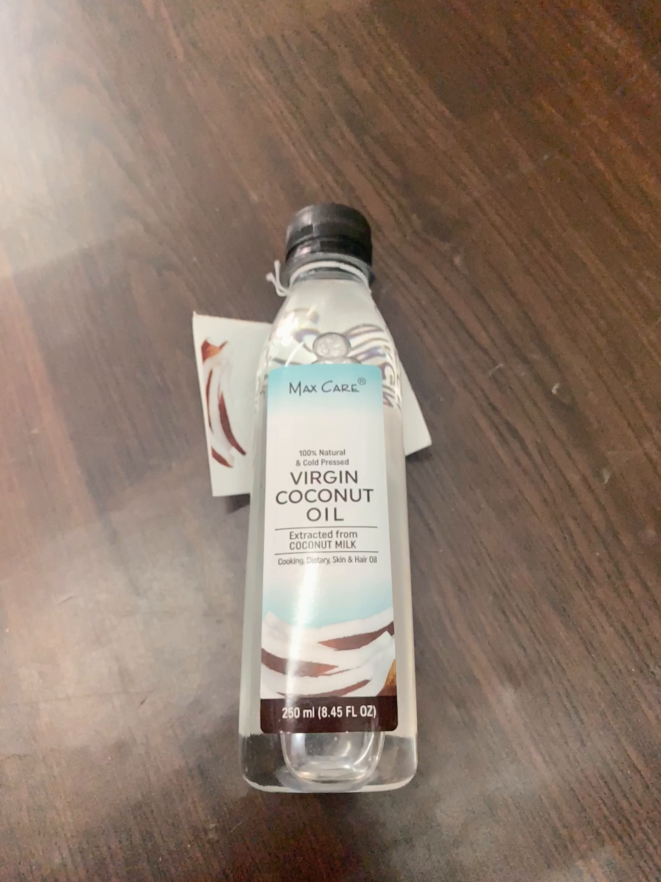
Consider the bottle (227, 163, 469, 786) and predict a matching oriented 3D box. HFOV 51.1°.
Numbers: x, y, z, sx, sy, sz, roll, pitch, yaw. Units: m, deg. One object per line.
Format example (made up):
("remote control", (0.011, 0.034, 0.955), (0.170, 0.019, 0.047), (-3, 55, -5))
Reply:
("bottle", (0.004, 0.003, 0.200), (0.050, 0.050, 0.170), (1, 66, -1))
